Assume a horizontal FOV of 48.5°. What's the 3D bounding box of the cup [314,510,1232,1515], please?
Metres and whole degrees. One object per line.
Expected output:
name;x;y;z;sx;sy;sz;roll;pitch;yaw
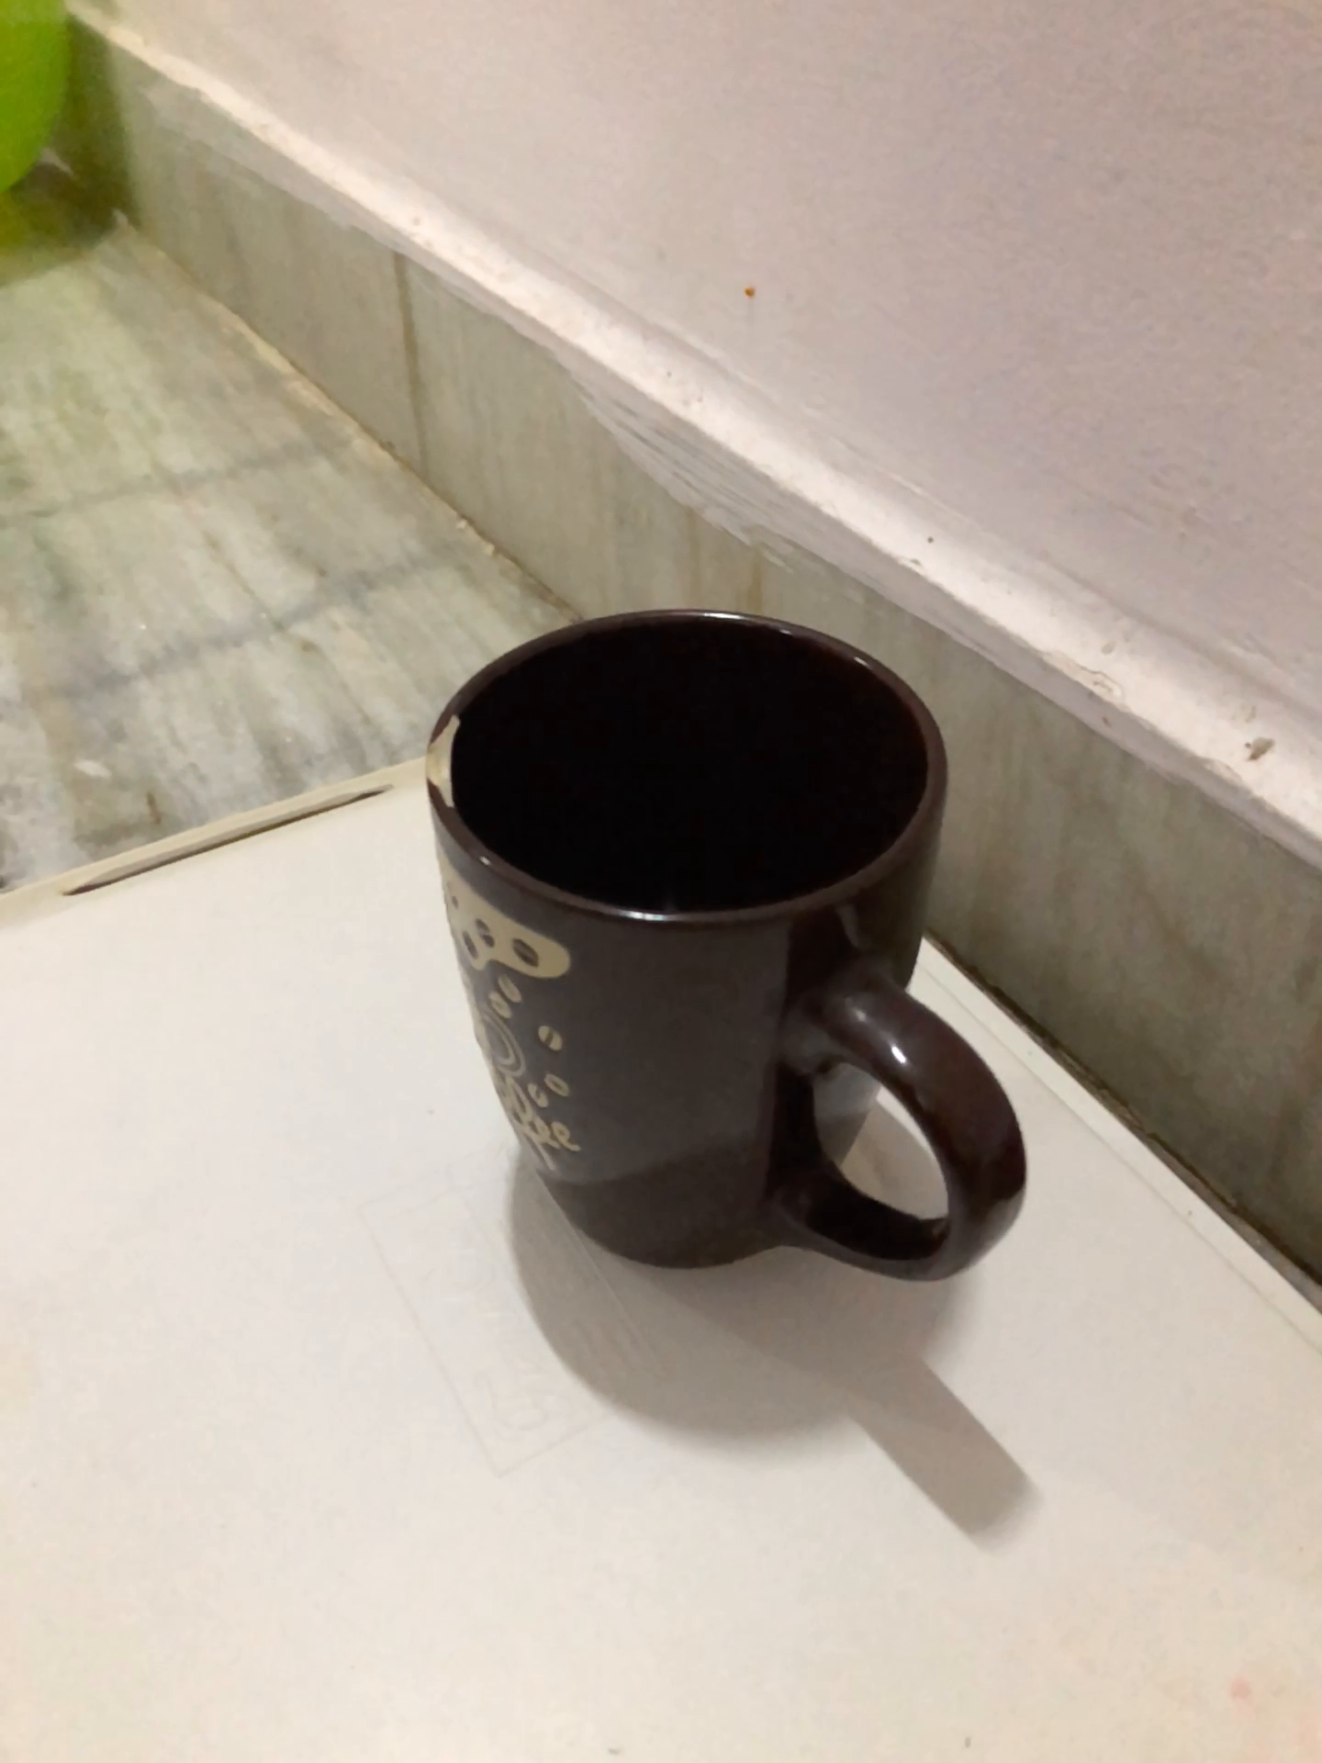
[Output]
cup;0.011;0.015;0.246;0.070;0.099;0.120;-29;49;-29
